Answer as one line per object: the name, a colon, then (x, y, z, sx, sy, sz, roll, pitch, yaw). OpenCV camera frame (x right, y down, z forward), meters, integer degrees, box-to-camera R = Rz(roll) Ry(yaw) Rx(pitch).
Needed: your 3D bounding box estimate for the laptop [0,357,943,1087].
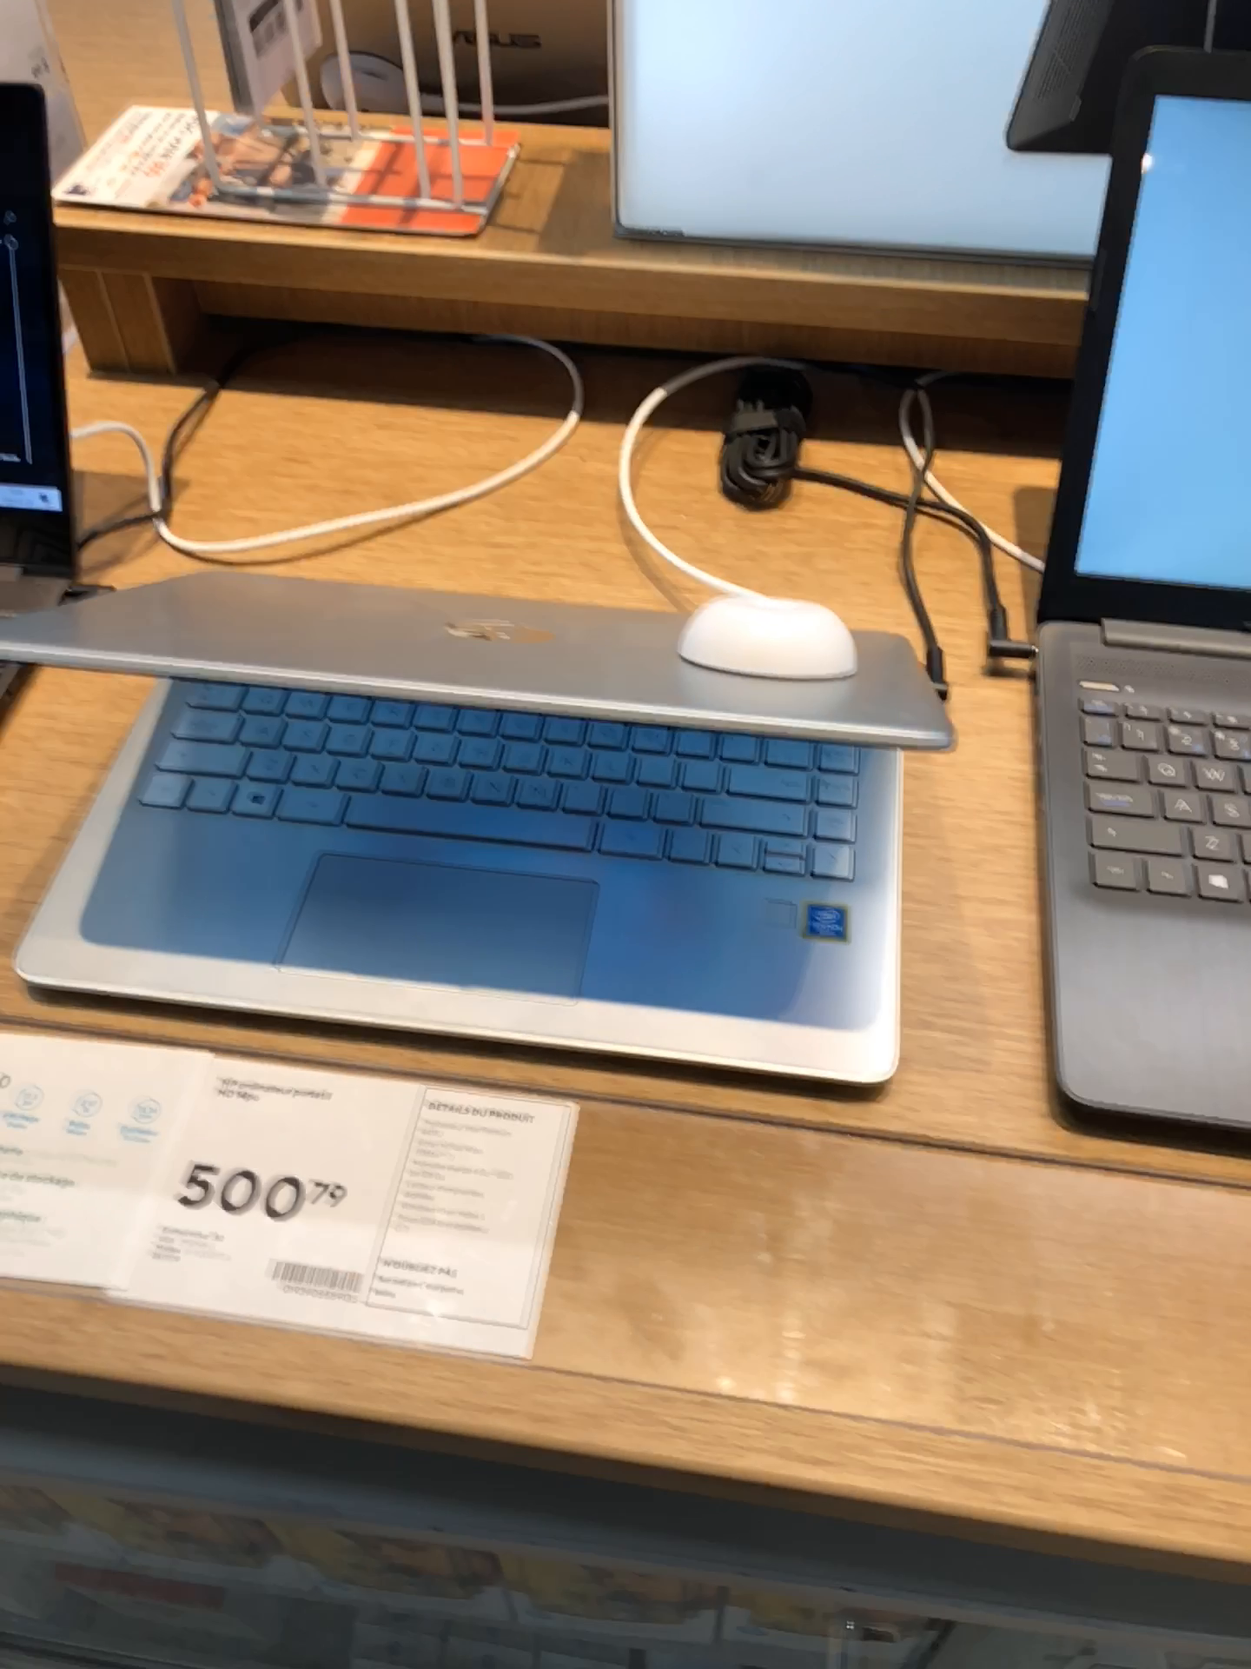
laptop: (-0.053, -0.052, 0.501, 0.314, 0.110, 0.217, 6, 52, 6)
